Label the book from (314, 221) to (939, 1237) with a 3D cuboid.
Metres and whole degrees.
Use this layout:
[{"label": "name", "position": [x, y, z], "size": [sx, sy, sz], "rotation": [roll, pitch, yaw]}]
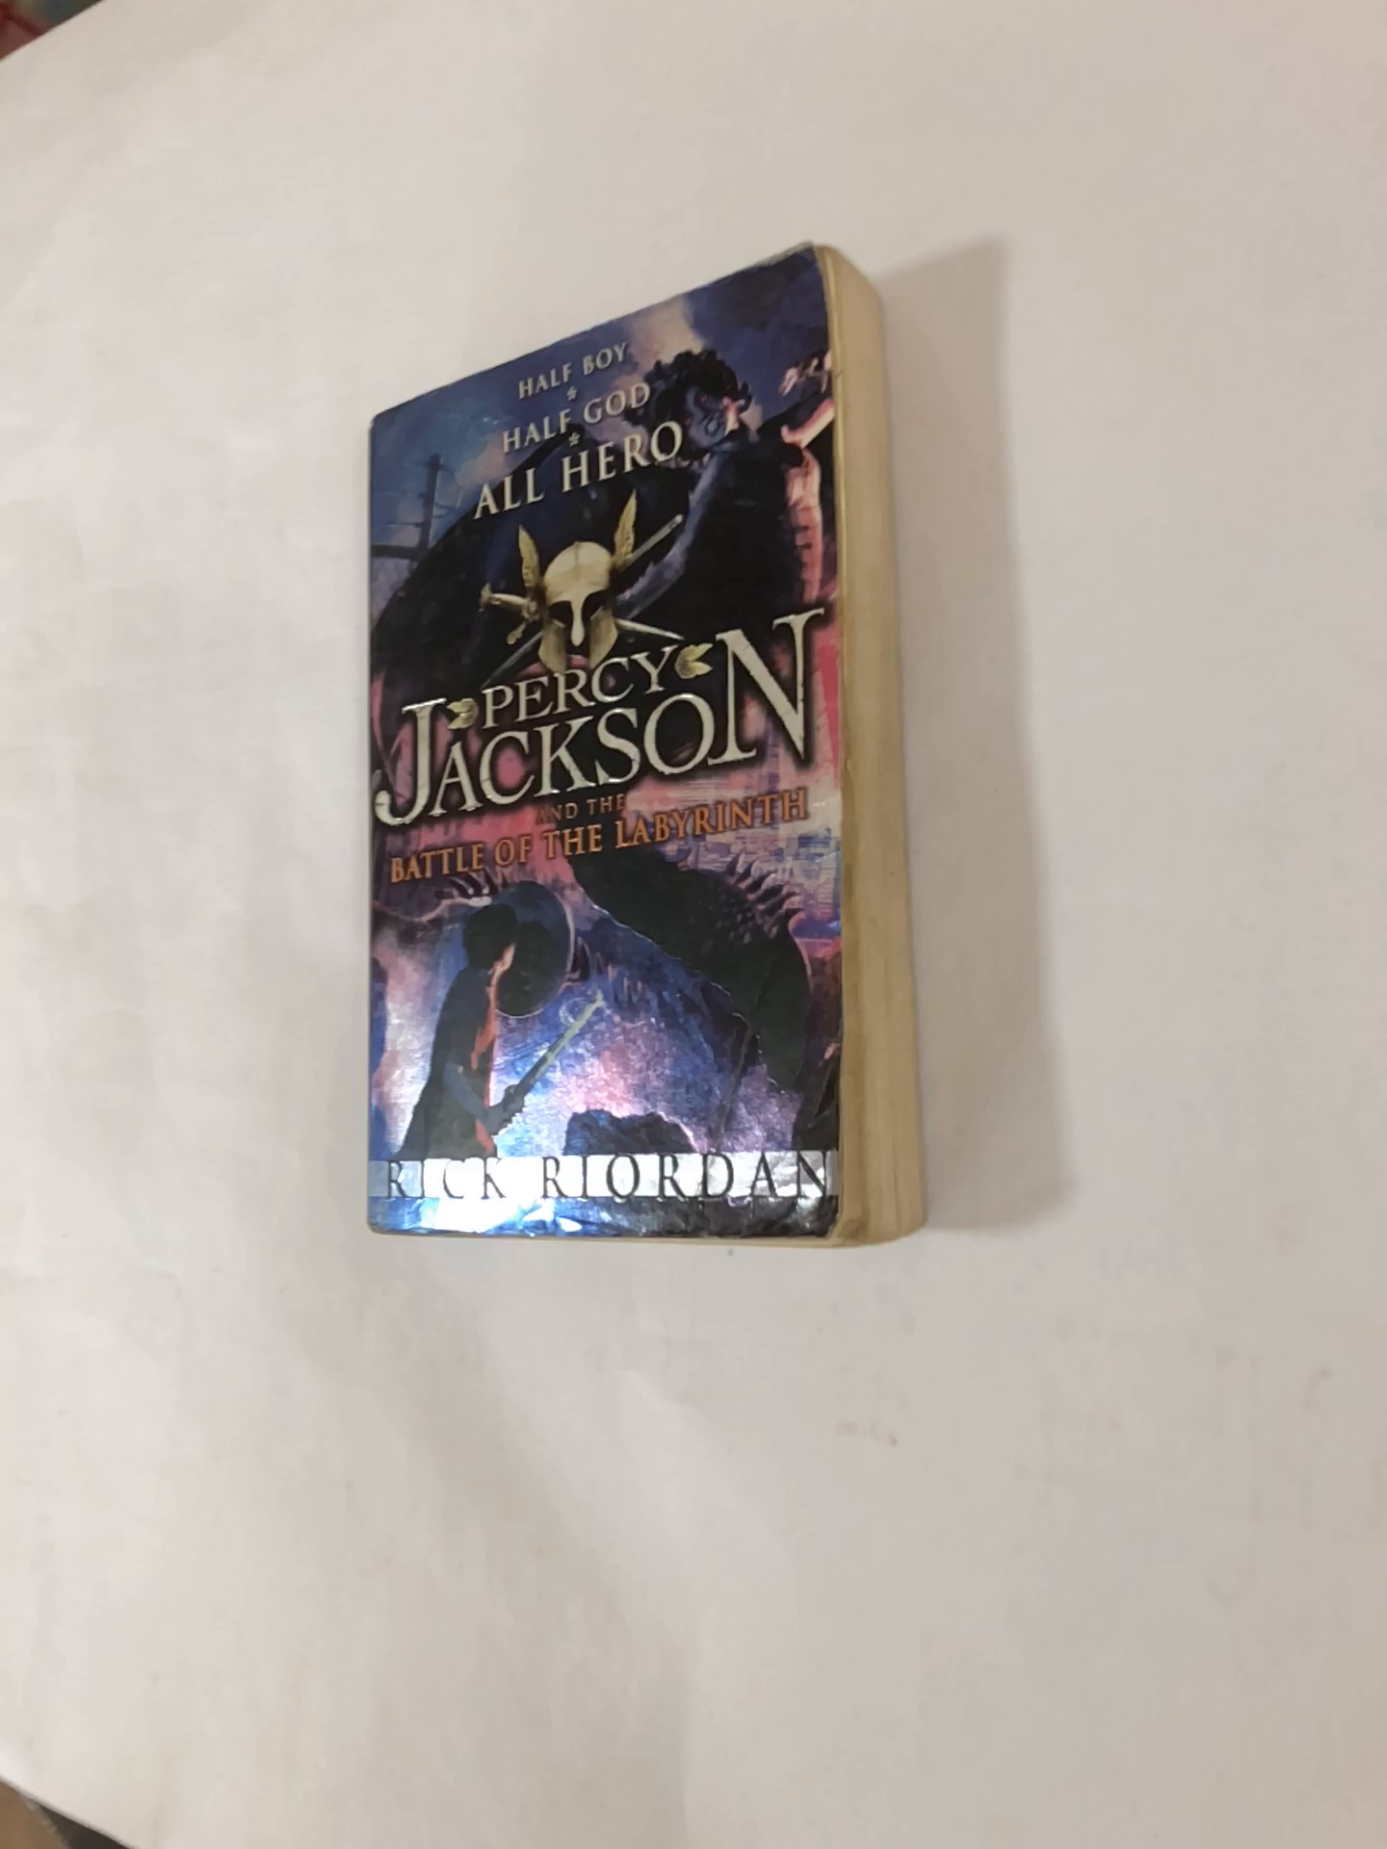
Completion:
[{"label": "book", "position": [-0.020, -0.031, 0.332], "size": [0.131, 0.040, 0.190], "rotation": [-7, 79, 34]}]
